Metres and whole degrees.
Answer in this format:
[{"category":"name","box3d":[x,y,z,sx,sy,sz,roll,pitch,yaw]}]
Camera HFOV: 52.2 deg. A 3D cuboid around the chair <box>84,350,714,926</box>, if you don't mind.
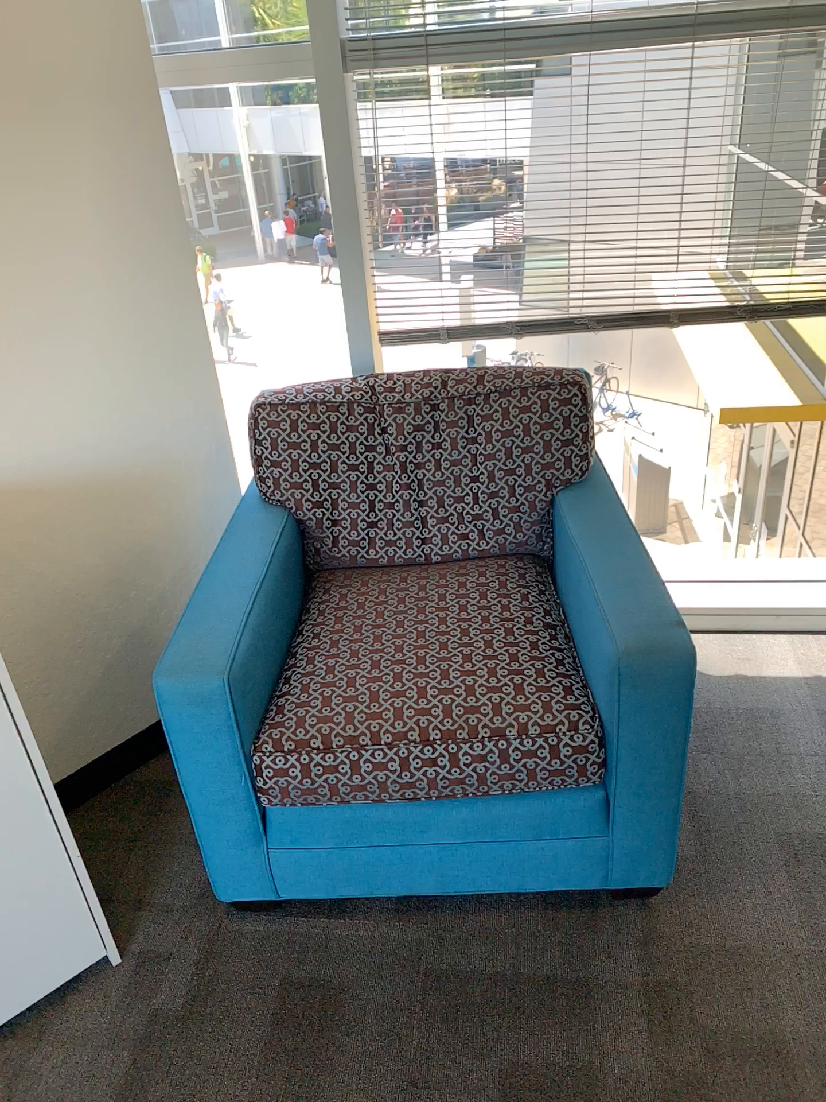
[{"category":"chair","box3d":[0.006,0.133,1.837,0.930,0.805,0.915,-4,31,3]}]
